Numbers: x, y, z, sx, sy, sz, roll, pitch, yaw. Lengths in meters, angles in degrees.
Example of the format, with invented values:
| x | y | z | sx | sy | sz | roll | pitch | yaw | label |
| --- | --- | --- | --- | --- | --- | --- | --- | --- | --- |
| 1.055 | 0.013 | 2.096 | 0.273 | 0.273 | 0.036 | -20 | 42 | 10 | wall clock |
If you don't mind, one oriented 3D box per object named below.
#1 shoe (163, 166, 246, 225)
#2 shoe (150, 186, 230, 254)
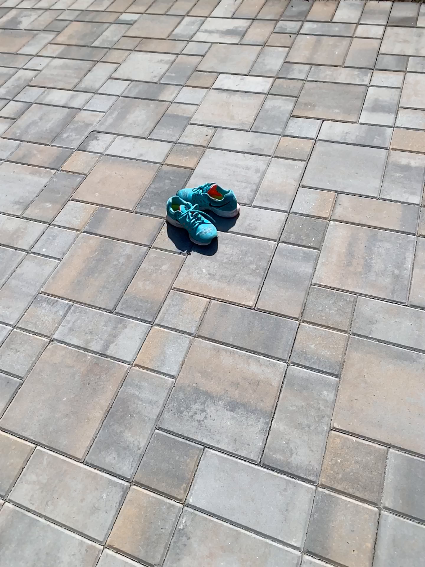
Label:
| x | y | z | sx | sy | sz | roll | pitch | yaw | label |
| --- | --- | --- | --- | --- | --- | --- | --- | --- | --- |
| -0.026 | -0.329 | 1.618 | 0.271 | 0.100 | 0.130 | 18 | 58 | 19 | shoe |
| -0.084 | -0.239 | 1.610 | 0.271 | 0.100 | 0.130 | 34 | 64 | 33 | shoe |
